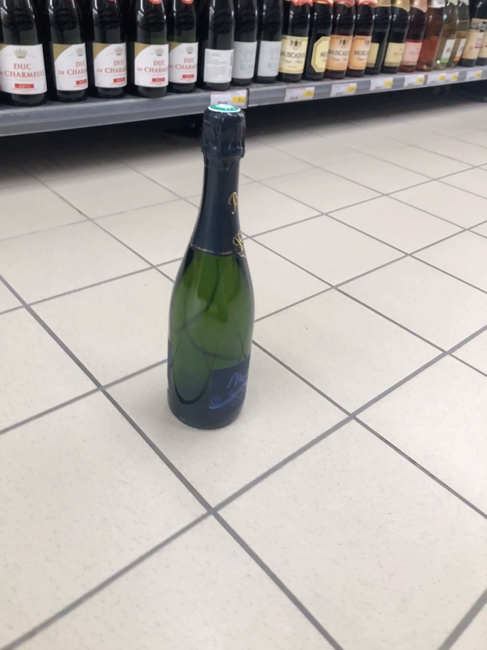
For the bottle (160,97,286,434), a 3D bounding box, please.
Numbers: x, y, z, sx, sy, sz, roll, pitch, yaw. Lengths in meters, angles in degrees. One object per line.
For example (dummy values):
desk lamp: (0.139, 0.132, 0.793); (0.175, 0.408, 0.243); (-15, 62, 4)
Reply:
bottle: (-0.028, -0.042, 0.515); (0.090, 0.308, 0.091); (4, 33, -3)
